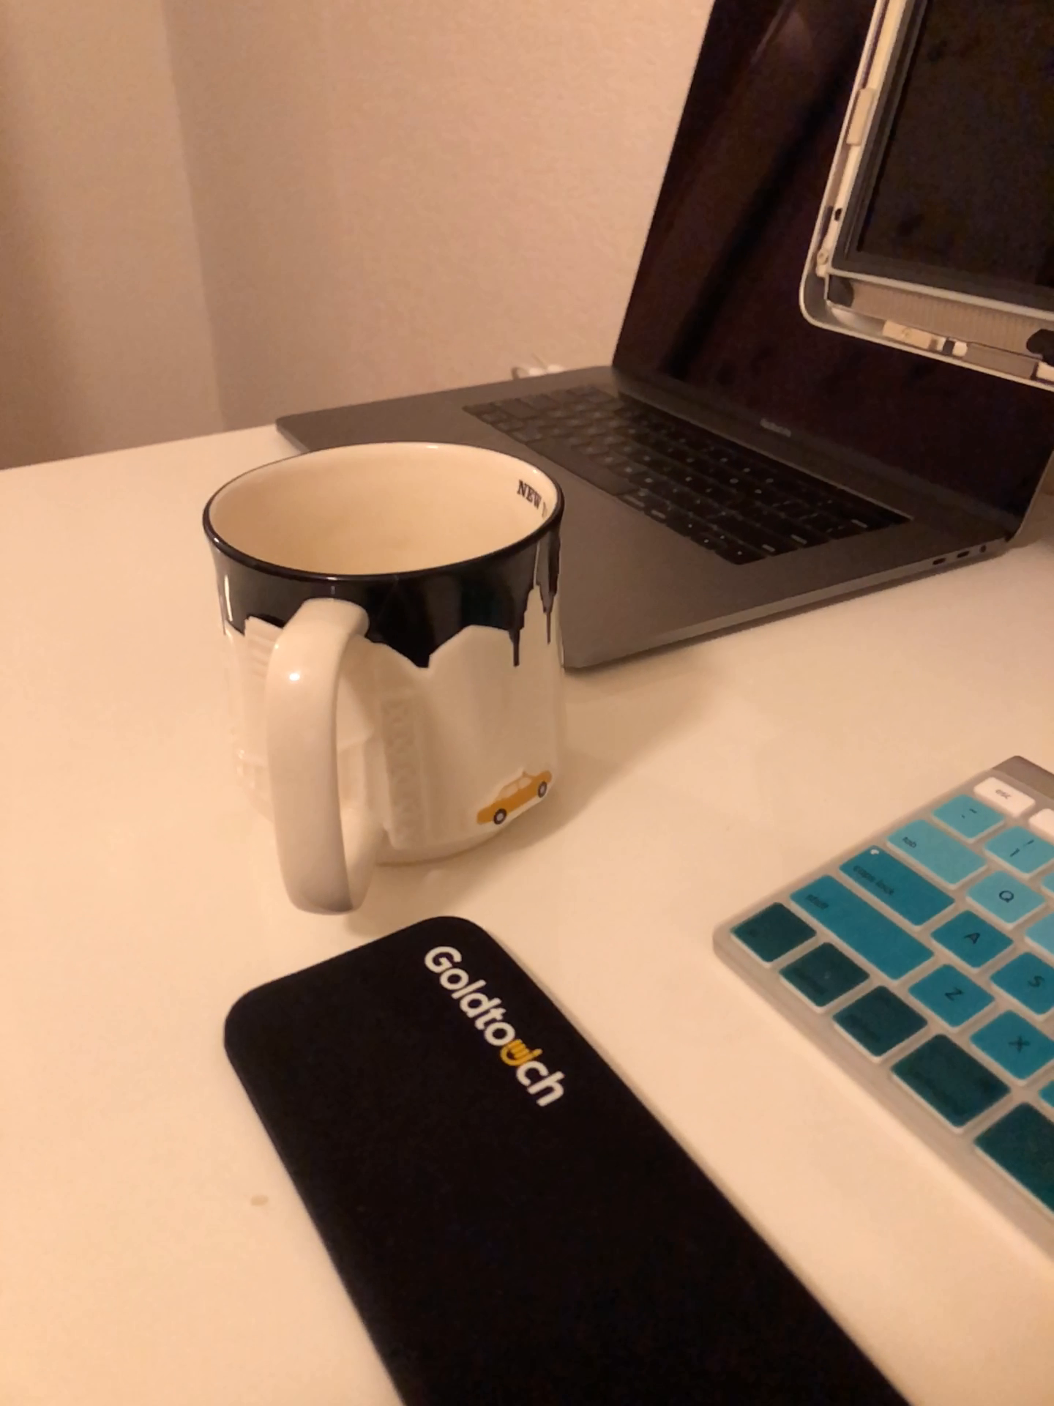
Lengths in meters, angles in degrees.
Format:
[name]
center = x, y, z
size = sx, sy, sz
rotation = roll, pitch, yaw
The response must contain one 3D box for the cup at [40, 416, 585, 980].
[cup]
center = -0.042, -0.014, 0.335
size = 0.110, 0.089, 0.161
rotation = 2, 31, 4
